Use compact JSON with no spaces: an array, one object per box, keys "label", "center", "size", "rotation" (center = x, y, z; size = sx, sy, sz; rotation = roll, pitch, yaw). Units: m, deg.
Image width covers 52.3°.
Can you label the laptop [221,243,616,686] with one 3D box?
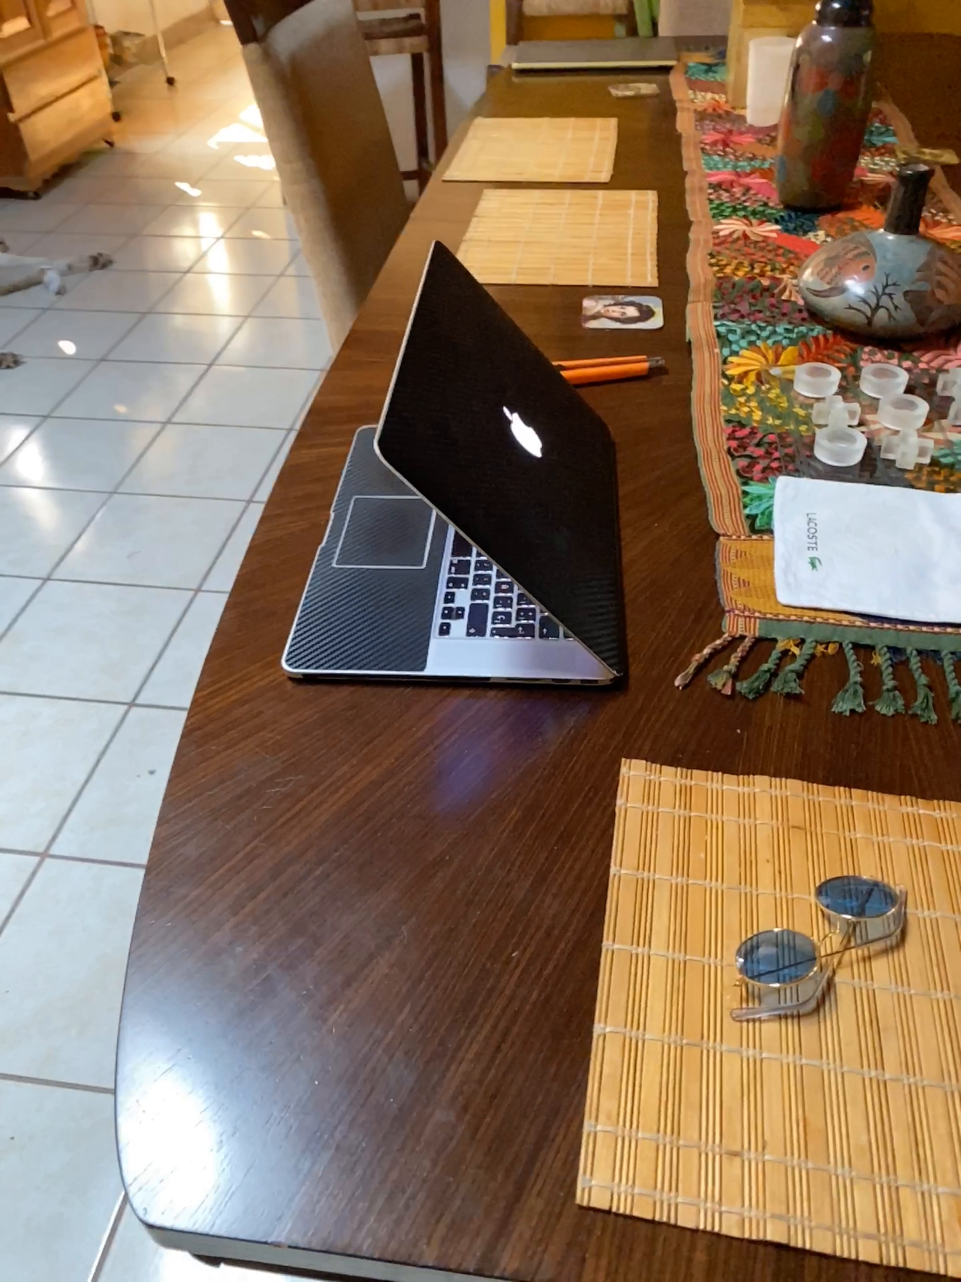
[{"label":"laptop","center":[-0.024,-0.158,0.772],"size":[0.235,0.181,0.356],"rotation":[2,41,4]}]
